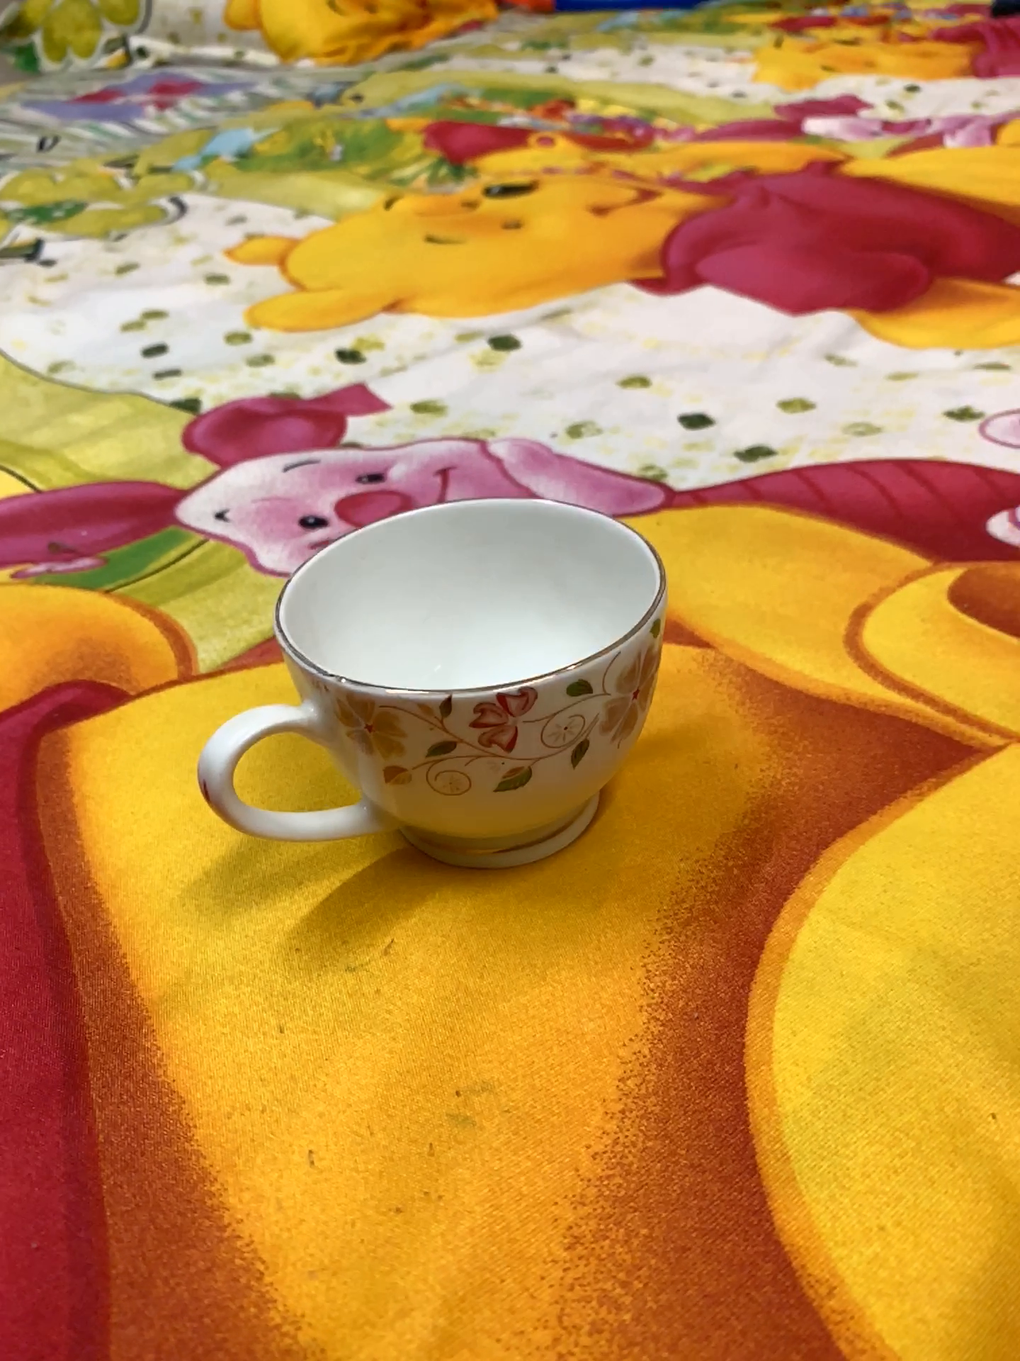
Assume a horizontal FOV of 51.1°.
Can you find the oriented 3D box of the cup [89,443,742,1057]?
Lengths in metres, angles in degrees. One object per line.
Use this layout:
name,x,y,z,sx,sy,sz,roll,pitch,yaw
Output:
cup,-0.016,0.005,0.225,0.100,0.059,0.080,-31,42,-29
